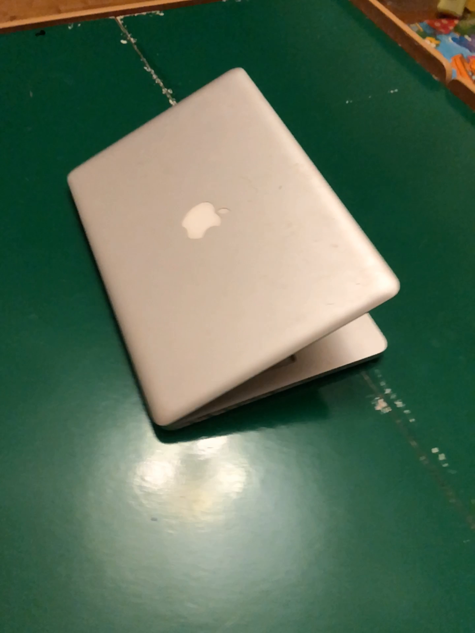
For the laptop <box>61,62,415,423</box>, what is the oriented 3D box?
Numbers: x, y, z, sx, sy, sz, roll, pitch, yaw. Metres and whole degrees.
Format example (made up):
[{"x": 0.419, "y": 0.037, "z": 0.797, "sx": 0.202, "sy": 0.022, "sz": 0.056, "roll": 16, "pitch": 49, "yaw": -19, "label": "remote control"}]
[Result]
[{"x": -0.022, "y": -0.094, "z": 0.496, "sx": 0.210, "sy": 0.098, "sz": 0.316, "roll": -17, "pitch": 58, "yaw": -15, "label": "laptop"}]
